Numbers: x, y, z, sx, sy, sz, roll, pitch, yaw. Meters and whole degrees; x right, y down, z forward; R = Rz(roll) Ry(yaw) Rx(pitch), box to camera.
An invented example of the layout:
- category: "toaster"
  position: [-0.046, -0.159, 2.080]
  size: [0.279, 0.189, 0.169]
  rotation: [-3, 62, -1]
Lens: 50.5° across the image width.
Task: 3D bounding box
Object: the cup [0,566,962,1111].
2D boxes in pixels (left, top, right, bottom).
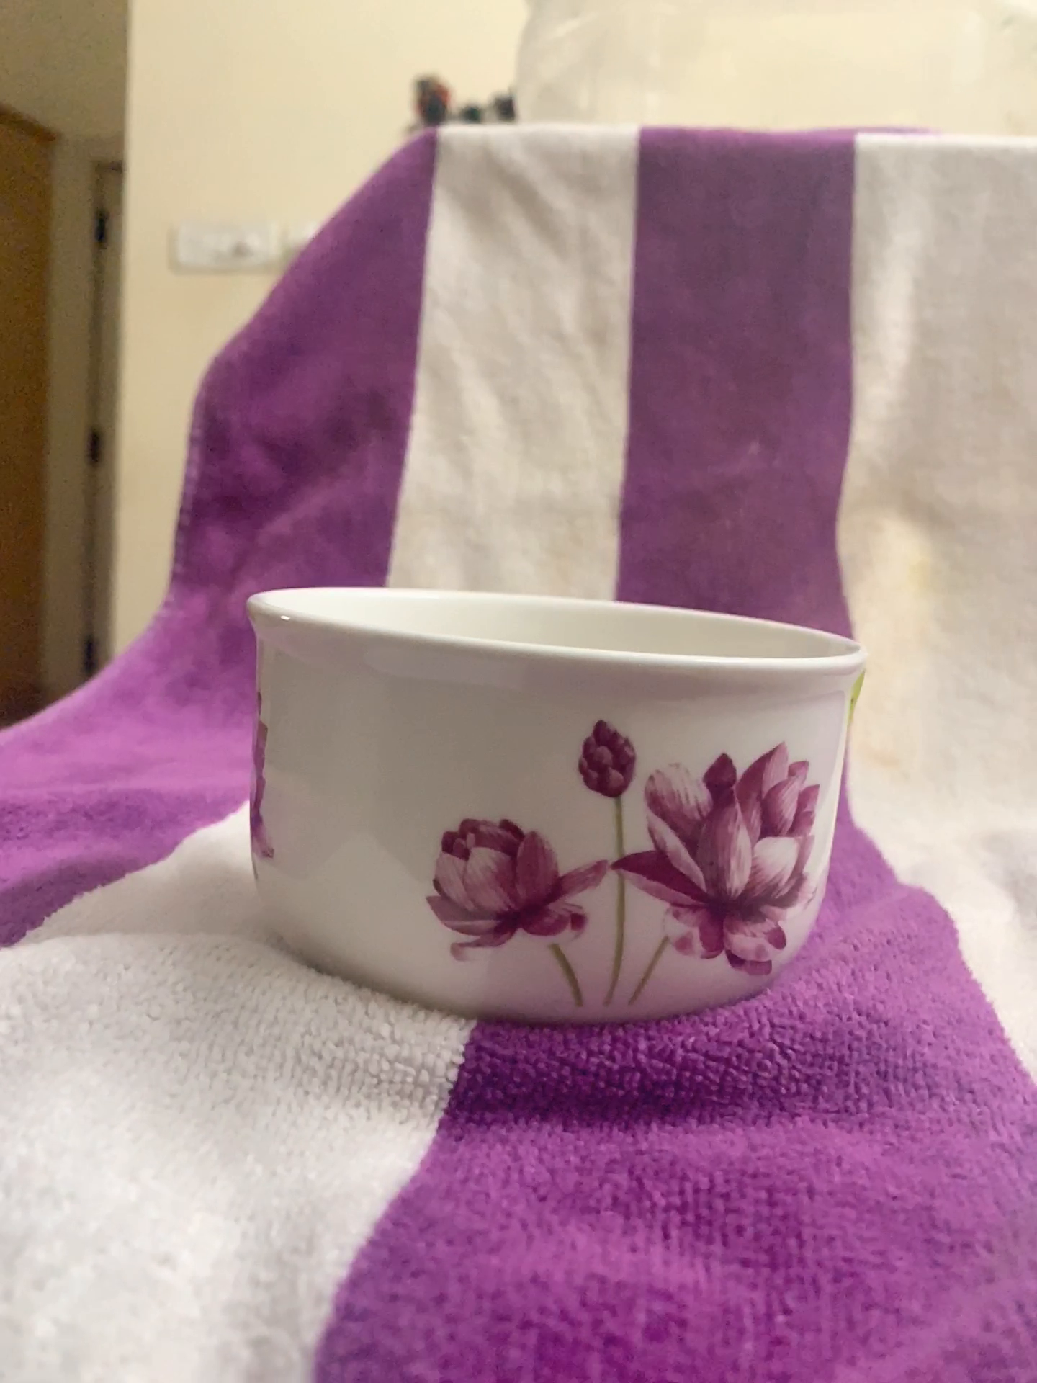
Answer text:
- category: "cup"
  position: [-0.003, 0.011, 0.177]
  size: [0.110, 0.050, 0.100]
  rotation: [4, 9, -1]
